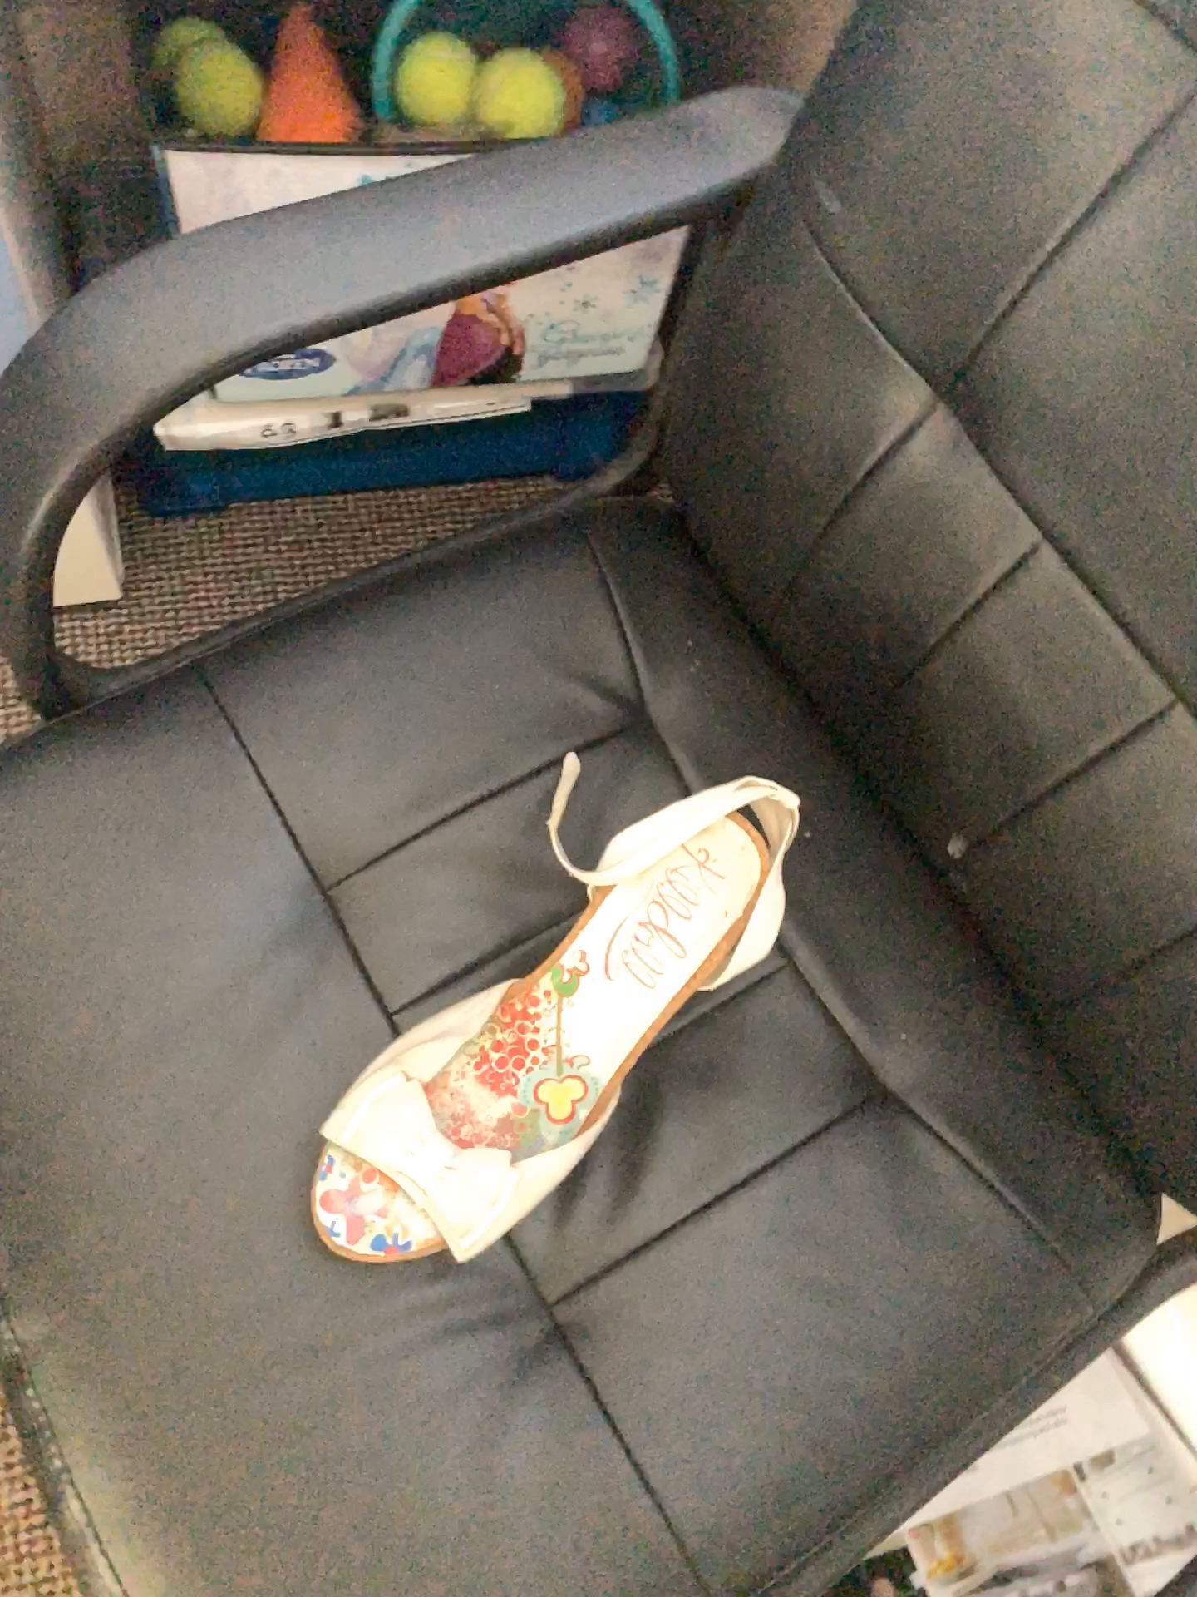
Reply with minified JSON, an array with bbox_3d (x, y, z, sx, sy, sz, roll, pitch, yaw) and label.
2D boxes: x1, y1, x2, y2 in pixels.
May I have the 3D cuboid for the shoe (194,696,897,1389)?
[{"bbox_3d":[-0.024,0.102,0.507,0.241,0.189,0.100,-41,81,-21],"label":"shoe"}]
